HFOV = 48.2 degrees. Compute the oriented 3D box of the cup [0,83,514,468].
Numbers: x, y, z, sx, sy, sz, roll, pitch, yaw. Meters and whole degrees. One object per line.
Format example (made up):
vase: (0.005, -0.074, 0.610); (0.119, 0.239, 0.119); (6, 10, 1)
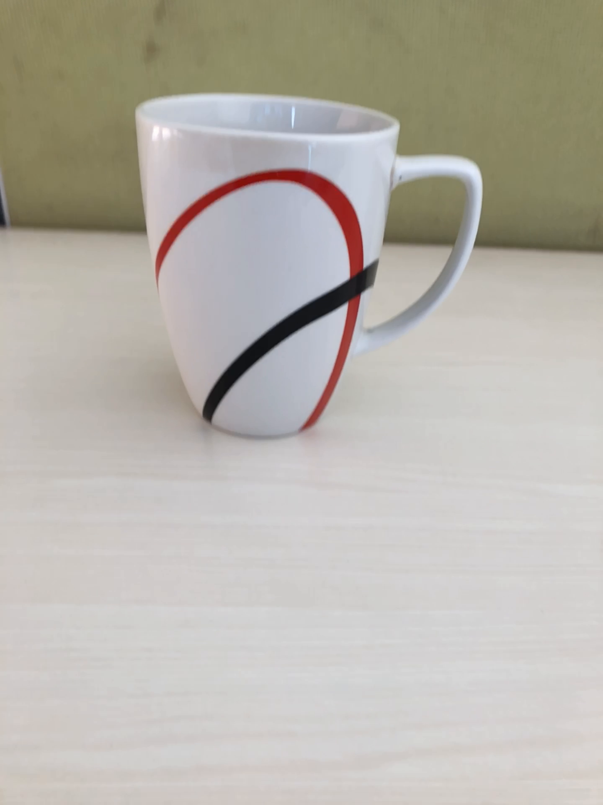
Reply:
cup: (-0.011, -0.052, 0.240); (0.140, 0.099, 0.091); (7, 28, 7)
